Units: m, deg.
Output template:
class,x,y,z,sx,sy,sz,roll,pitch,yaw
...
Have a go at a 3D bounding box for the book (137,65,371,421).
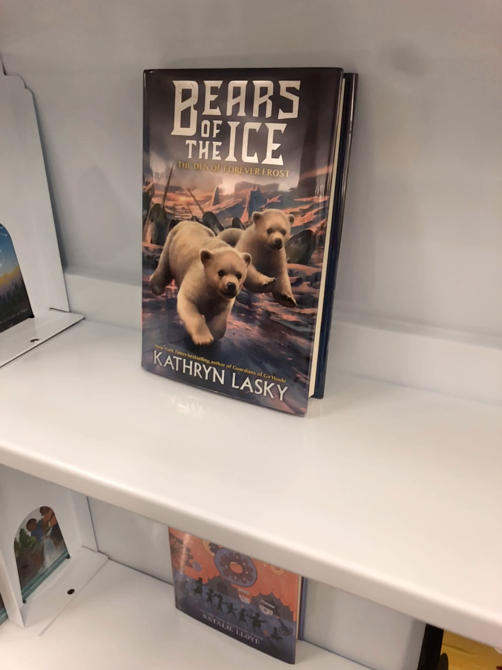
class,x,y,z,sx,sy,sz,roll,pitch,yaw
book,-0.008,-0.066,0.393,0.150,0.216,0.043,13,19,28
